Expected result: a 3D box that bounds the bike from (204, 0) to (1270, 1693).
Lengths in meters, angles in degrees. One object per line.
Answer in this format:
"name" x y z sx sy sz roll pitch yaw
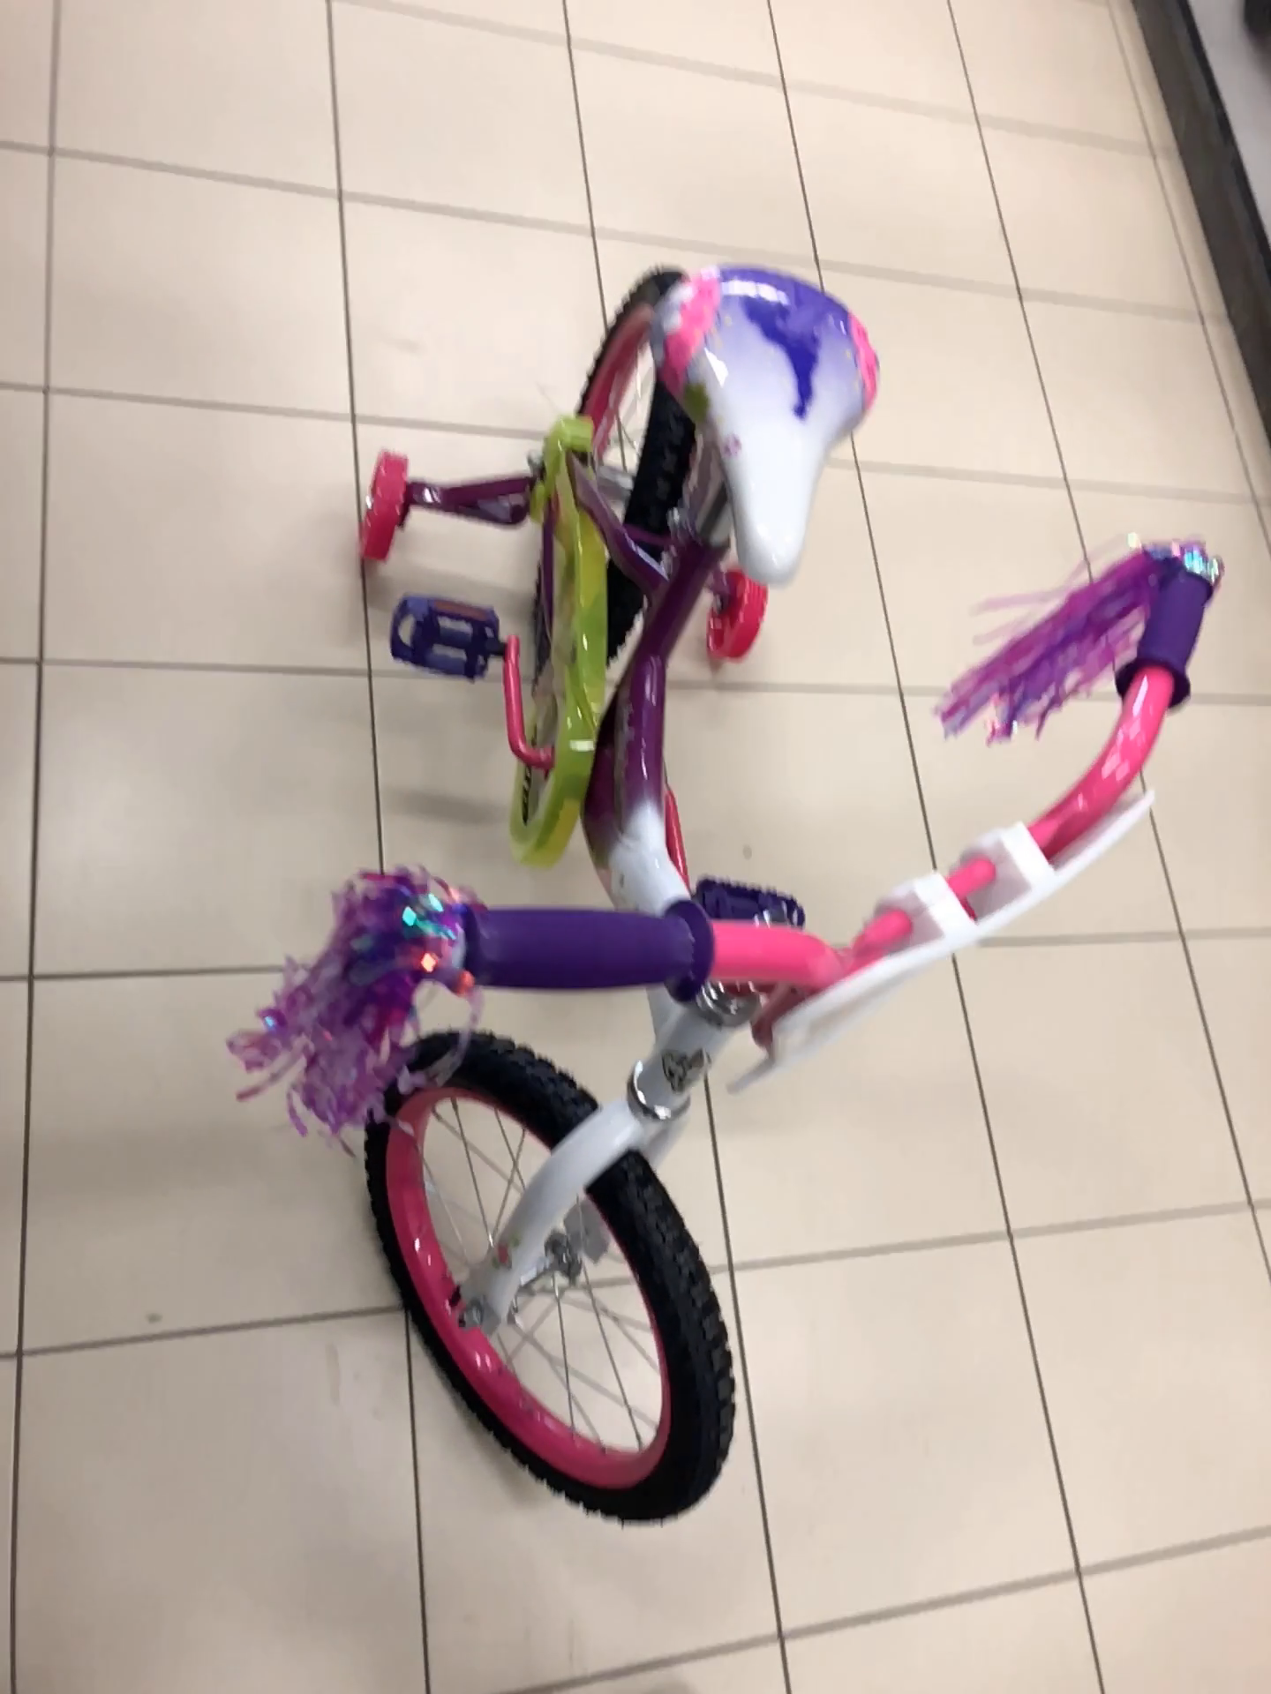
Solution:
"bike" 0.063 -0.095 0.985 0.595 0.811 1.068 5 68 -18
